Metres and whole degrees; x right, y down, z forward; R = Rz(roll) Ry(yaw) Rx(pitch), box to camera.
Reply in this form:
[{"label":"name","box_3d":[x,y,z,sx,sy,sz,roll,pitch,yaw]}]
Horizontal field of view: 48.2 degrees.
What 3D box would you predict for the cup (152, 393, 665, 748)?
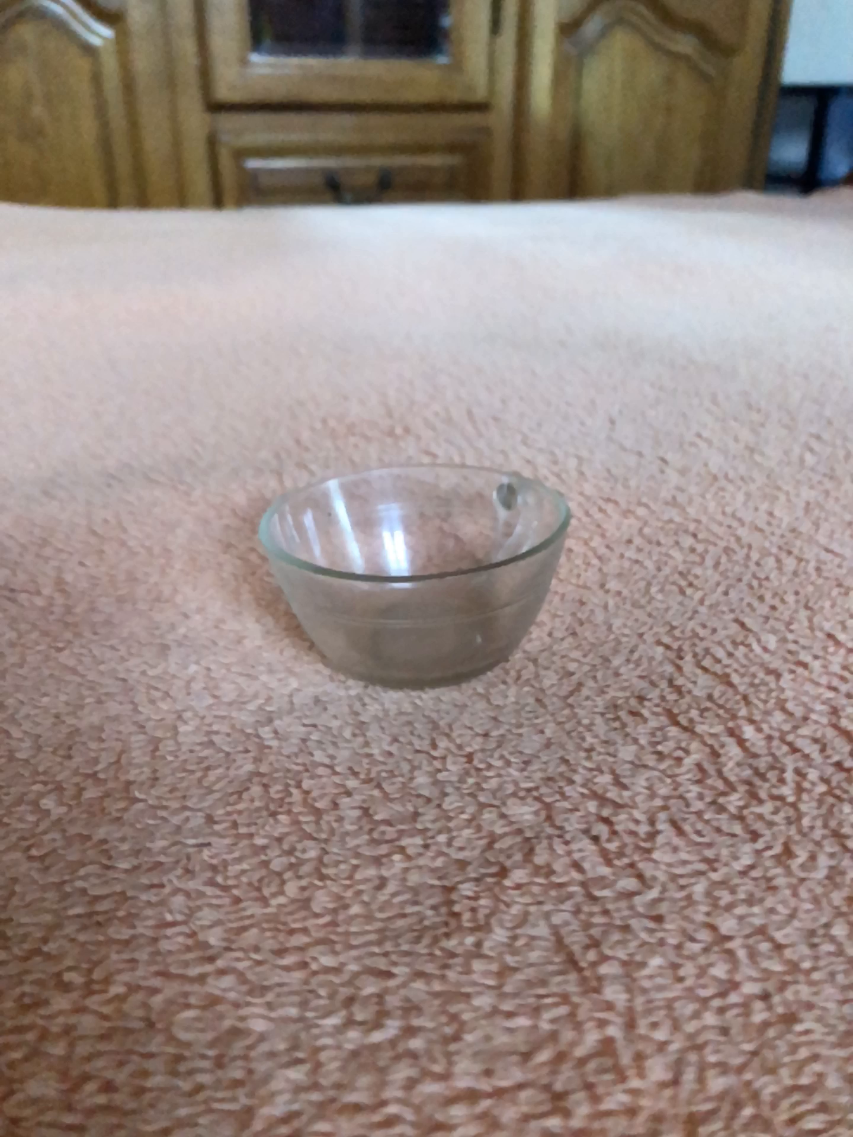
[{"label":"cup","box_3d":[-0.001,-0.010,0.268,0.090,0.040,0.111,18,32,34]}]
